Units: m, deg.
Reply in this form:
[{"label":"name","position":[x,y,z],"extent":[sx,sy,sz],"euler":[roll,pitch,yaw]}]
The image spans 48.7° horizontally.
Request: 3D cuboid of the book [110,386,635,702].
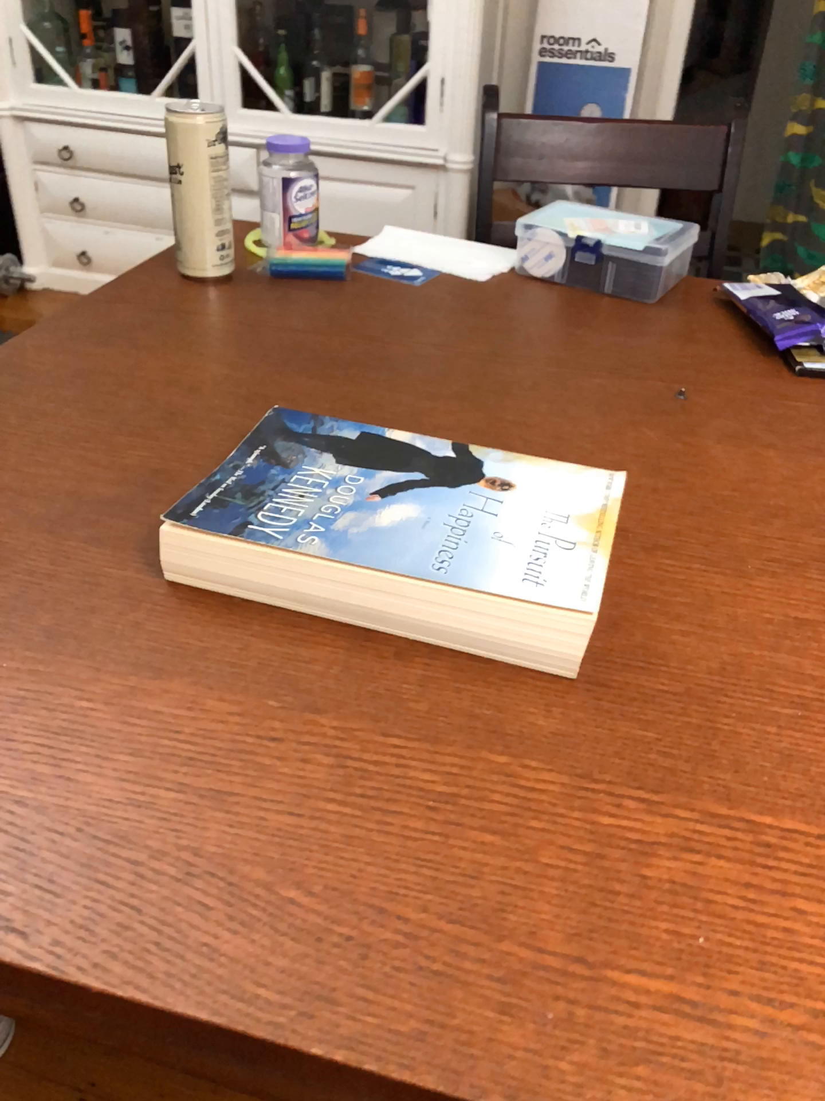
[{"label":"book","position":[-0.011,-0.017,0.499],"extent":[0.240,0.050,0.161],"euler":[12,35,13]}]
